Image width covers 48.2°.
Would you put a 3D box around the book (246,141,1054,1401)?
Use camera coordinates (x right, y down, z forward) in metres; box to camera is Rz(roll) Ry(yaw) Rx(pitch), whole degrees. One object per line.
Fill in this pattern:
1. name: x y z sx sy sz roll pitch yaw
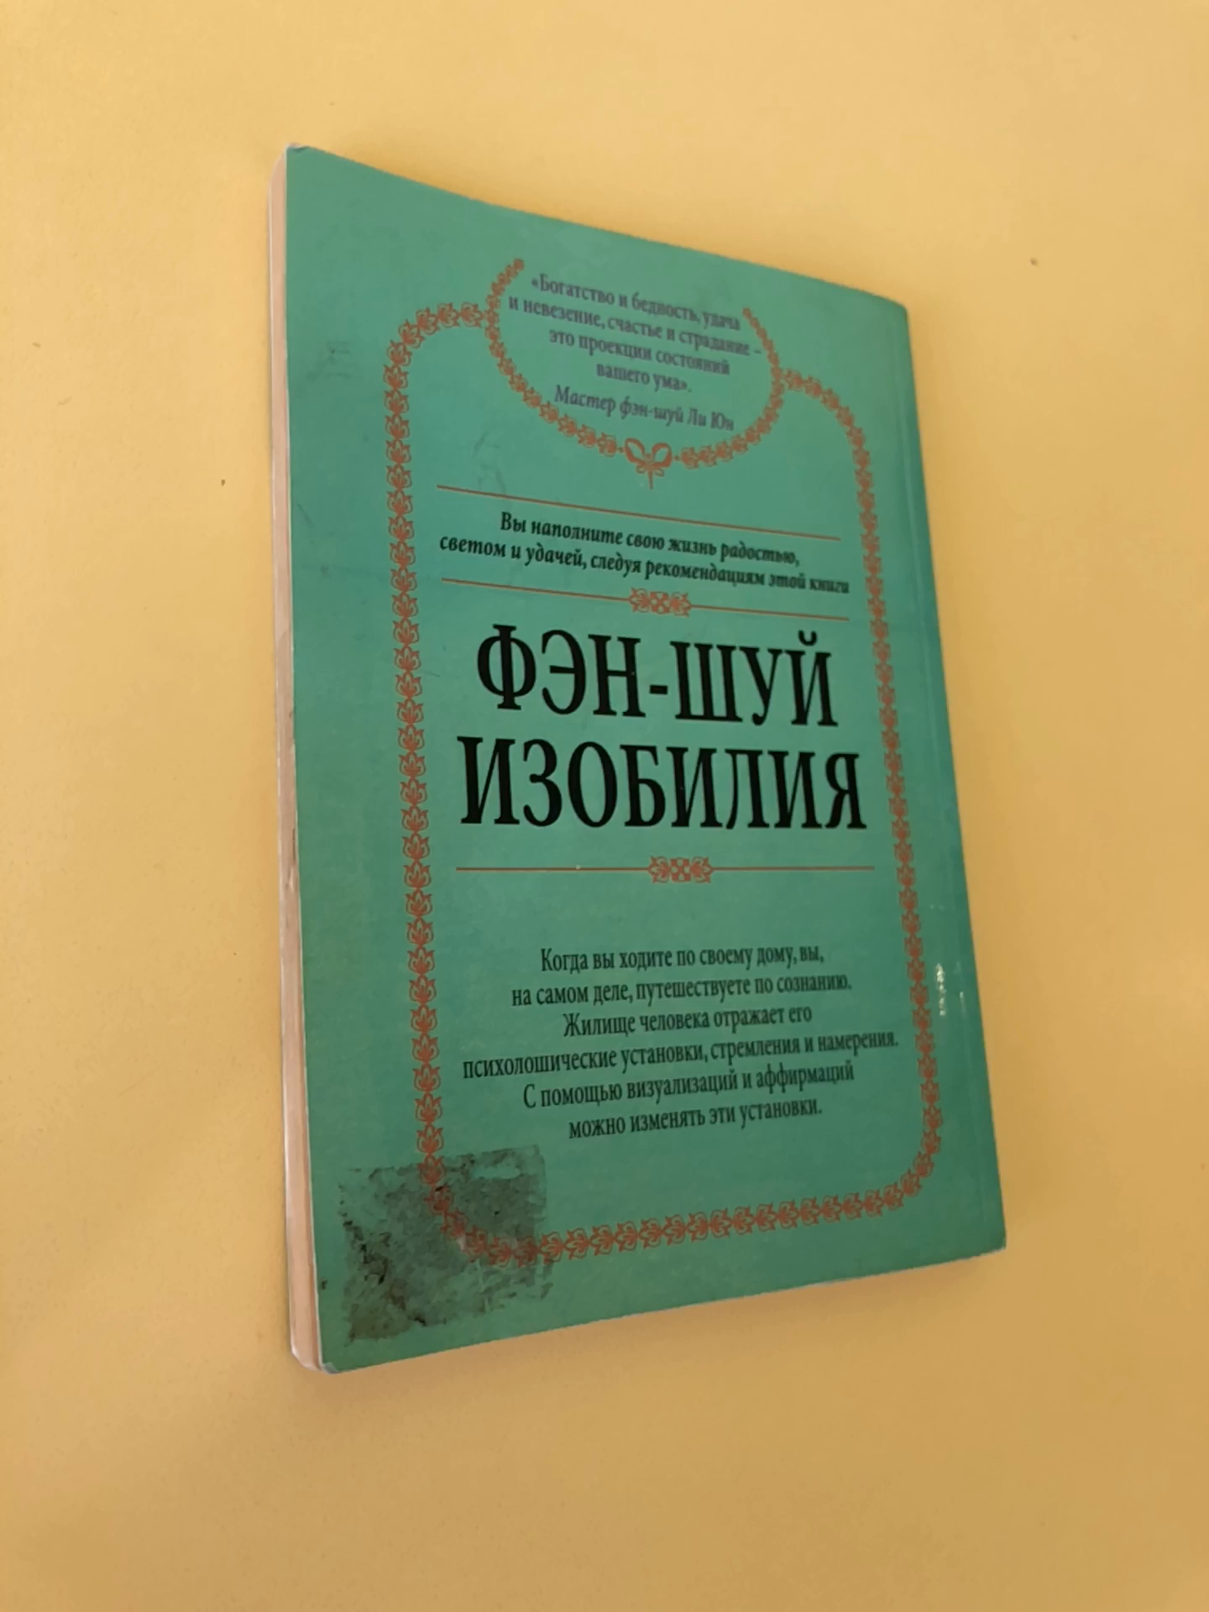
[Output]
1. book: 0.008 -0.009 0.210 0.118 0.020 0.166 1 78 -28
